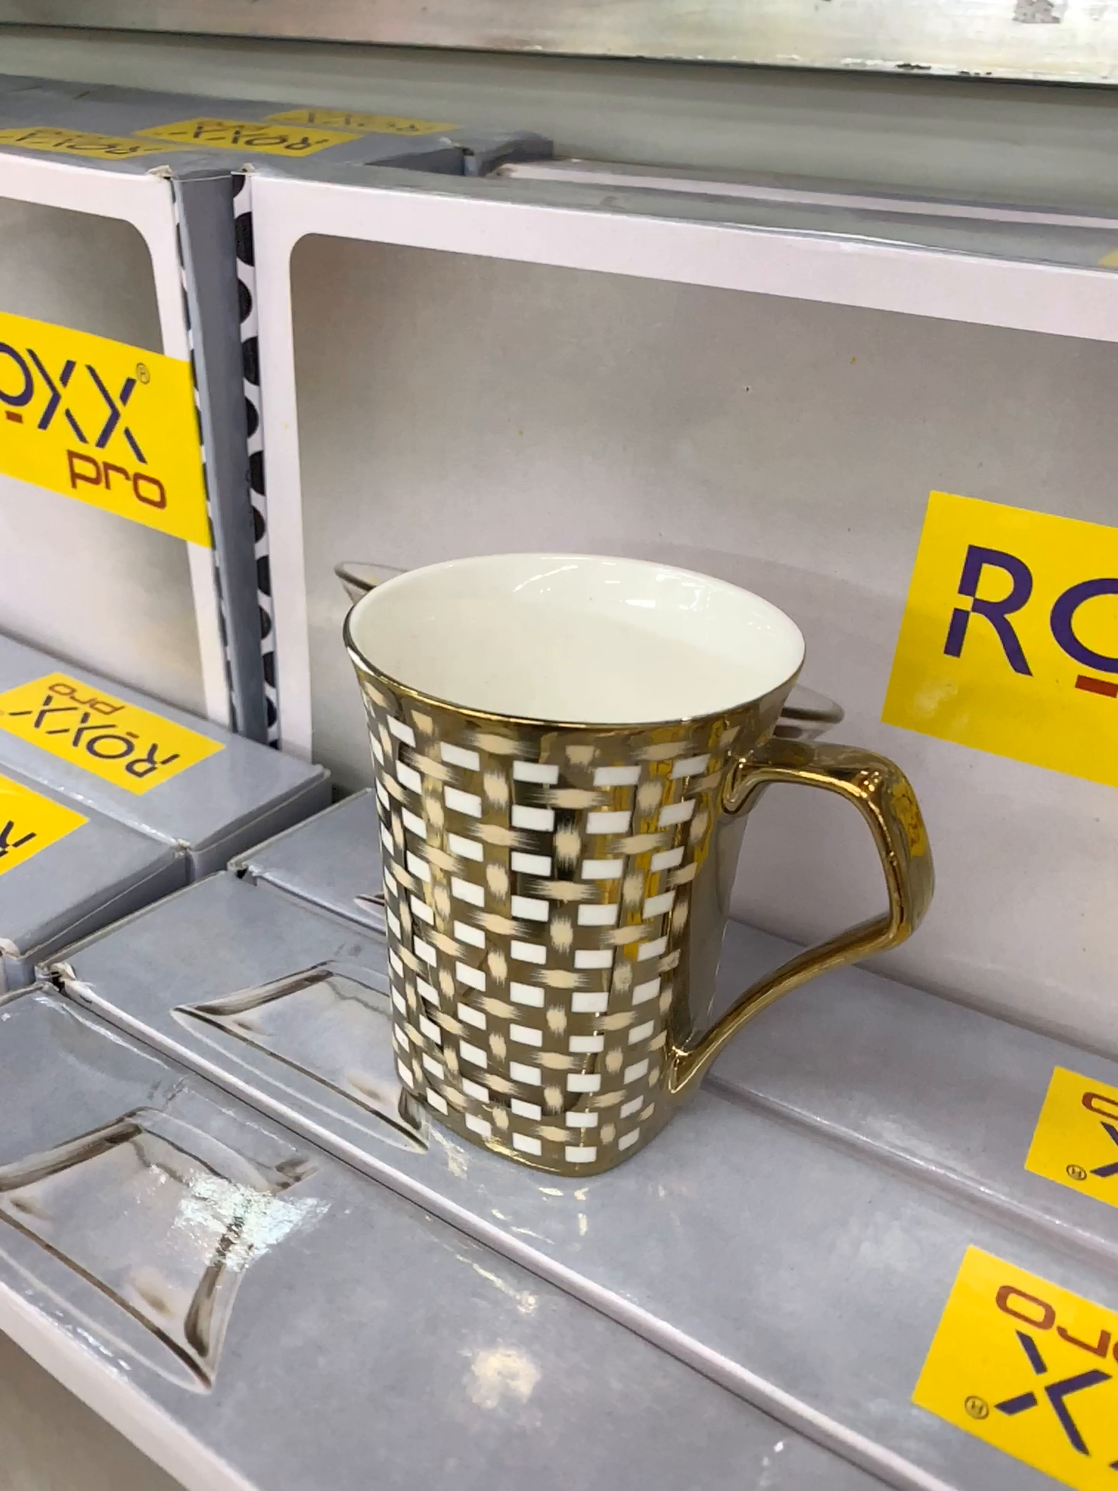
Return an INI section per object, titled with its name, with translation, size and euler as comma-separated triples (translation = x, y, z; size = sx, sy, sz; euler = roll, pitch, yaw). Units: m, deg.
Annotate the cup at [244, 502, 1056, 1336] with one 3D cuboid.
[cup]
translation = 0.014, 0.020, 0.220
size = 0.113, 0.092, 0.083
euler = 21, 33, 28
